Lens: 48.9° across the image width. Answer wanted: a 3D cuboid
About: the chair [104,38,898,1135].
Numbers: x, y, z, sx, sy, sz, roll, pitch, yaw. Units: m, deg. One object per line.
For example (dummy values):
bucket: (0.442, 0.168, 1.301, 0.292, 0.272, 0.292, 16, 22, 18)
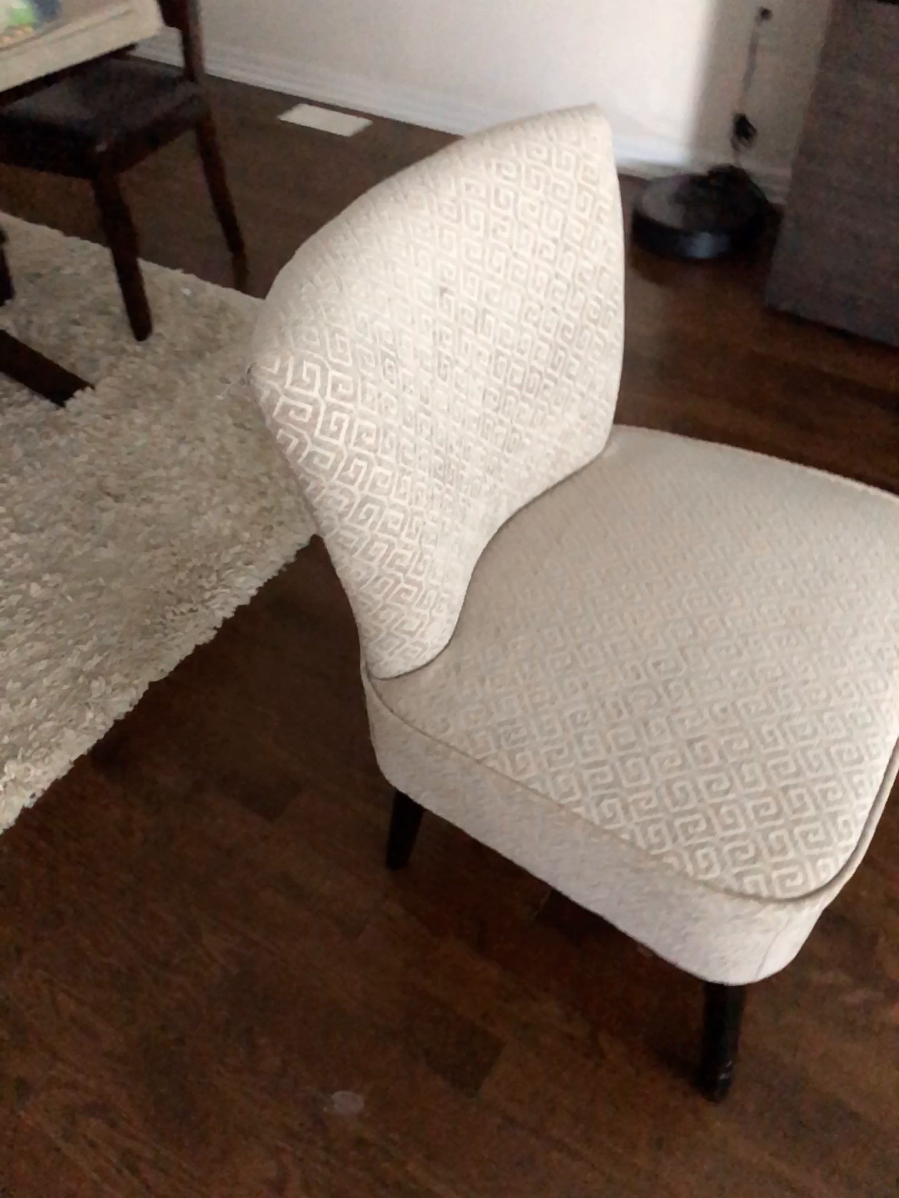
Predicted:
chair: (0.193, -0.017, 1.045, 0.641, 0.797, 0.601, 23, 51, 22)
